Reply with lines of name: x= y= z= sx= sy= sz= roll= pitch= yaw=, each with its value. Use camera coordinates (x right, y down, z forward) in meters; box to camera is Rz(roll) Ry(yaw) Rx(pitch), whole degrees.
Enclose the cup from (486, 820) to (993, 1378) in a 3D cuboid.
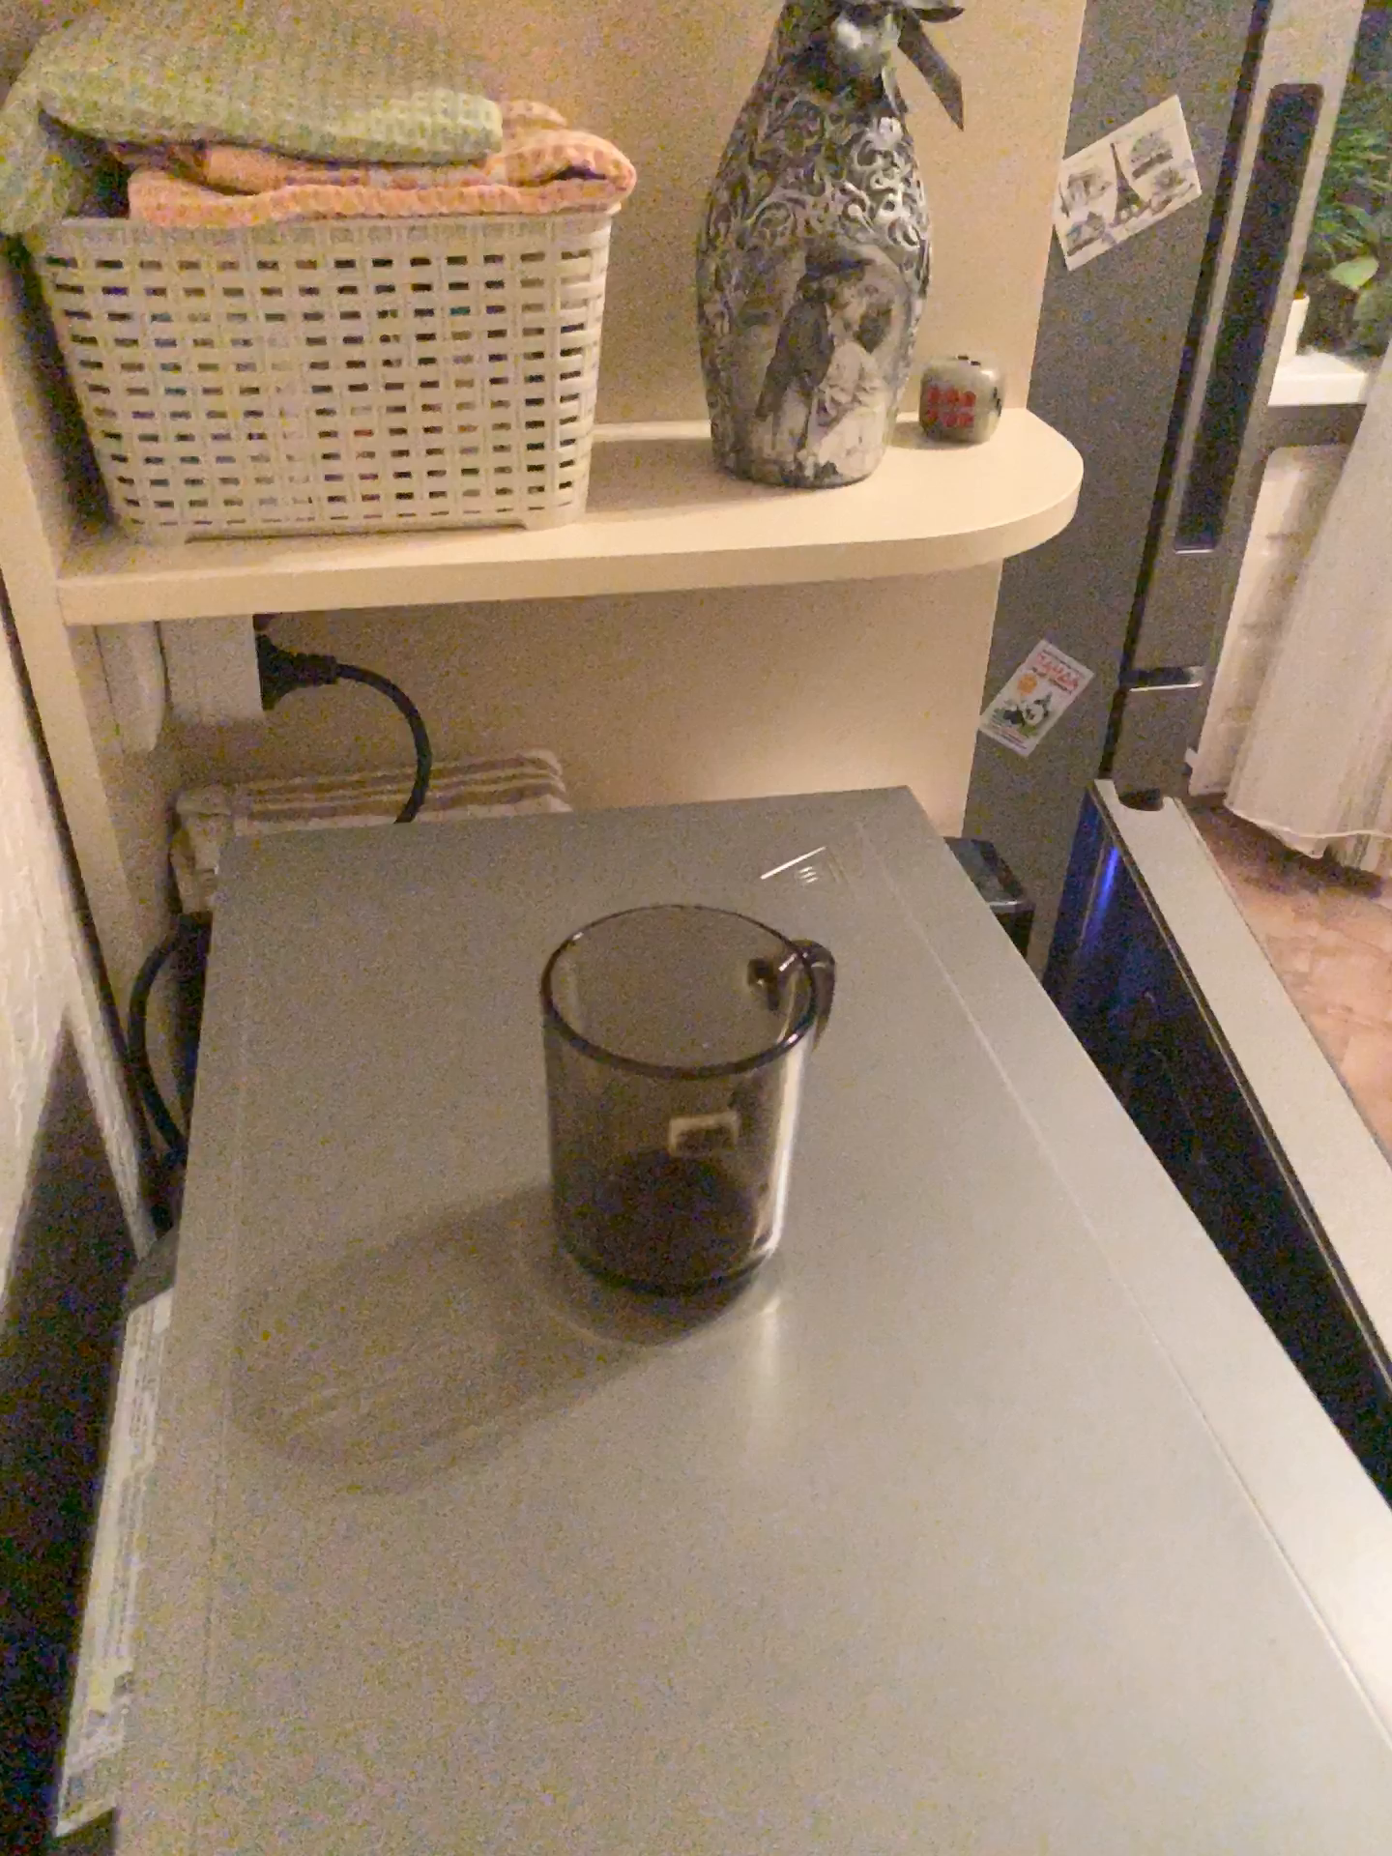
cup: x=0.013 y=0.040 z=0.387 sx=0.080 sy=0.079 sz=0.111 roll=26 pitch=41 yaw=30
